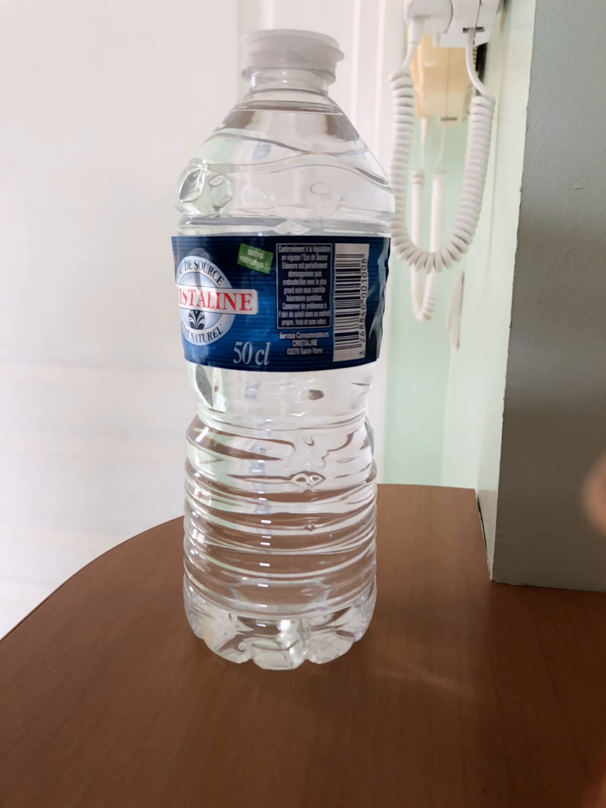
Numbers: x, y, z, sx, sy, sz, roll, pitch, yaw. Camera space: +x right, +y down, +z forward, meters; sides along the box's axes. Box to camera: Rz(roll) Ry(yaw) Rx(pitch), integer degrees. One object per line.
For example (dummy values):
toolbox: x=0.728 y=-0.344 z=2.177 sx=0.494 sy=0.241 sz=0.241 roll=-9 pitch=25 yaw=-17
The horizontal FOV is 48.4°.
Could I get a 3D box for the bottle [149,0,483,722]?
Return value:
bottle: x=0.001 y=-0.014 z=0.218 sx=0.070 sy=0.189 sz=0.070 roll=1 pitch=11 yaw=0
